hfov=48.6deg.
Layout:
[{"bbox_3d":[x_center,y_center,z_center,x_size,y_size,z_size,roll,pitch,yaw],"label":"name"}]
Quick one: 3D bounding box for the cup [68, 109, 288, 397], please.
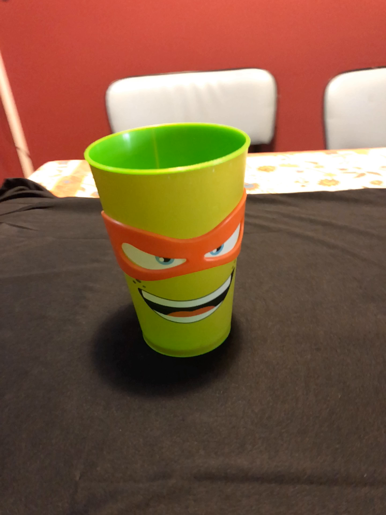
[{"bbox_3d":[-0.011,-0.011,0.288,0.100,0.139,0.111,-15,31,-16],"label":"cup"}]
